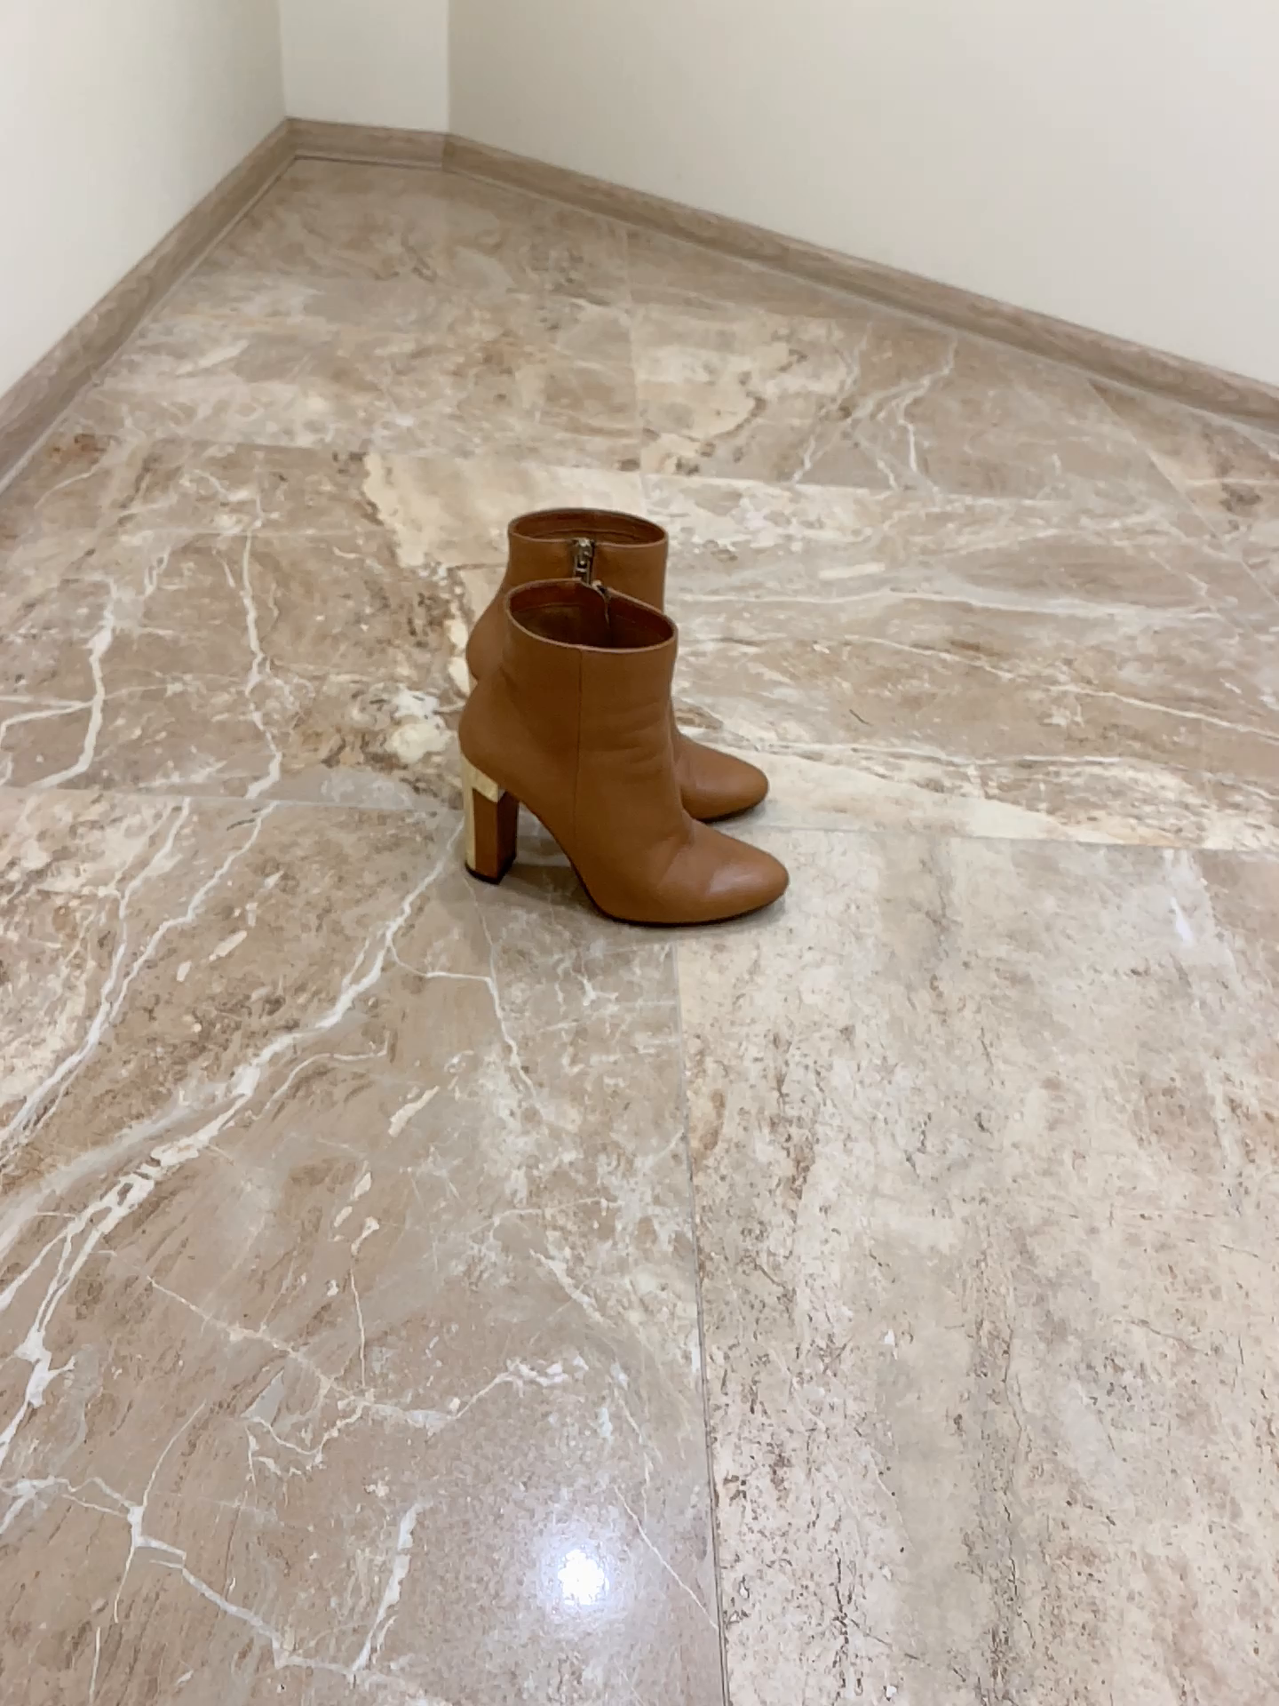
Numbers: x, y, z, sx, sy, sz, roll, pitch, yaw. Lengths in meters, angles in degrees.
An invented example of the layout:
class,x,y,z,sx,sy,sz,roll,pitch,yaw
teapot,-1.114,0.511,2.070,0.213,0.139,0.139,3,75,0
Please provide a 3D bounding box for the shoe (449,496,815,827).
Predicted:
class,x,y,z,sx,sy,sz,roll,pitch,yaw
shoe,-0.012,-0.119,0.846,0.210,0.175,0.091,3,37,-5

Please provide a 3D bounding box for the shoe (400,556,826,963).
class,x,y,z,sx,sy,sz,roll,pitch,yaw
shoe,-0.018,-0.053,0.772,0.220,0.185,0.091,10,37,4
